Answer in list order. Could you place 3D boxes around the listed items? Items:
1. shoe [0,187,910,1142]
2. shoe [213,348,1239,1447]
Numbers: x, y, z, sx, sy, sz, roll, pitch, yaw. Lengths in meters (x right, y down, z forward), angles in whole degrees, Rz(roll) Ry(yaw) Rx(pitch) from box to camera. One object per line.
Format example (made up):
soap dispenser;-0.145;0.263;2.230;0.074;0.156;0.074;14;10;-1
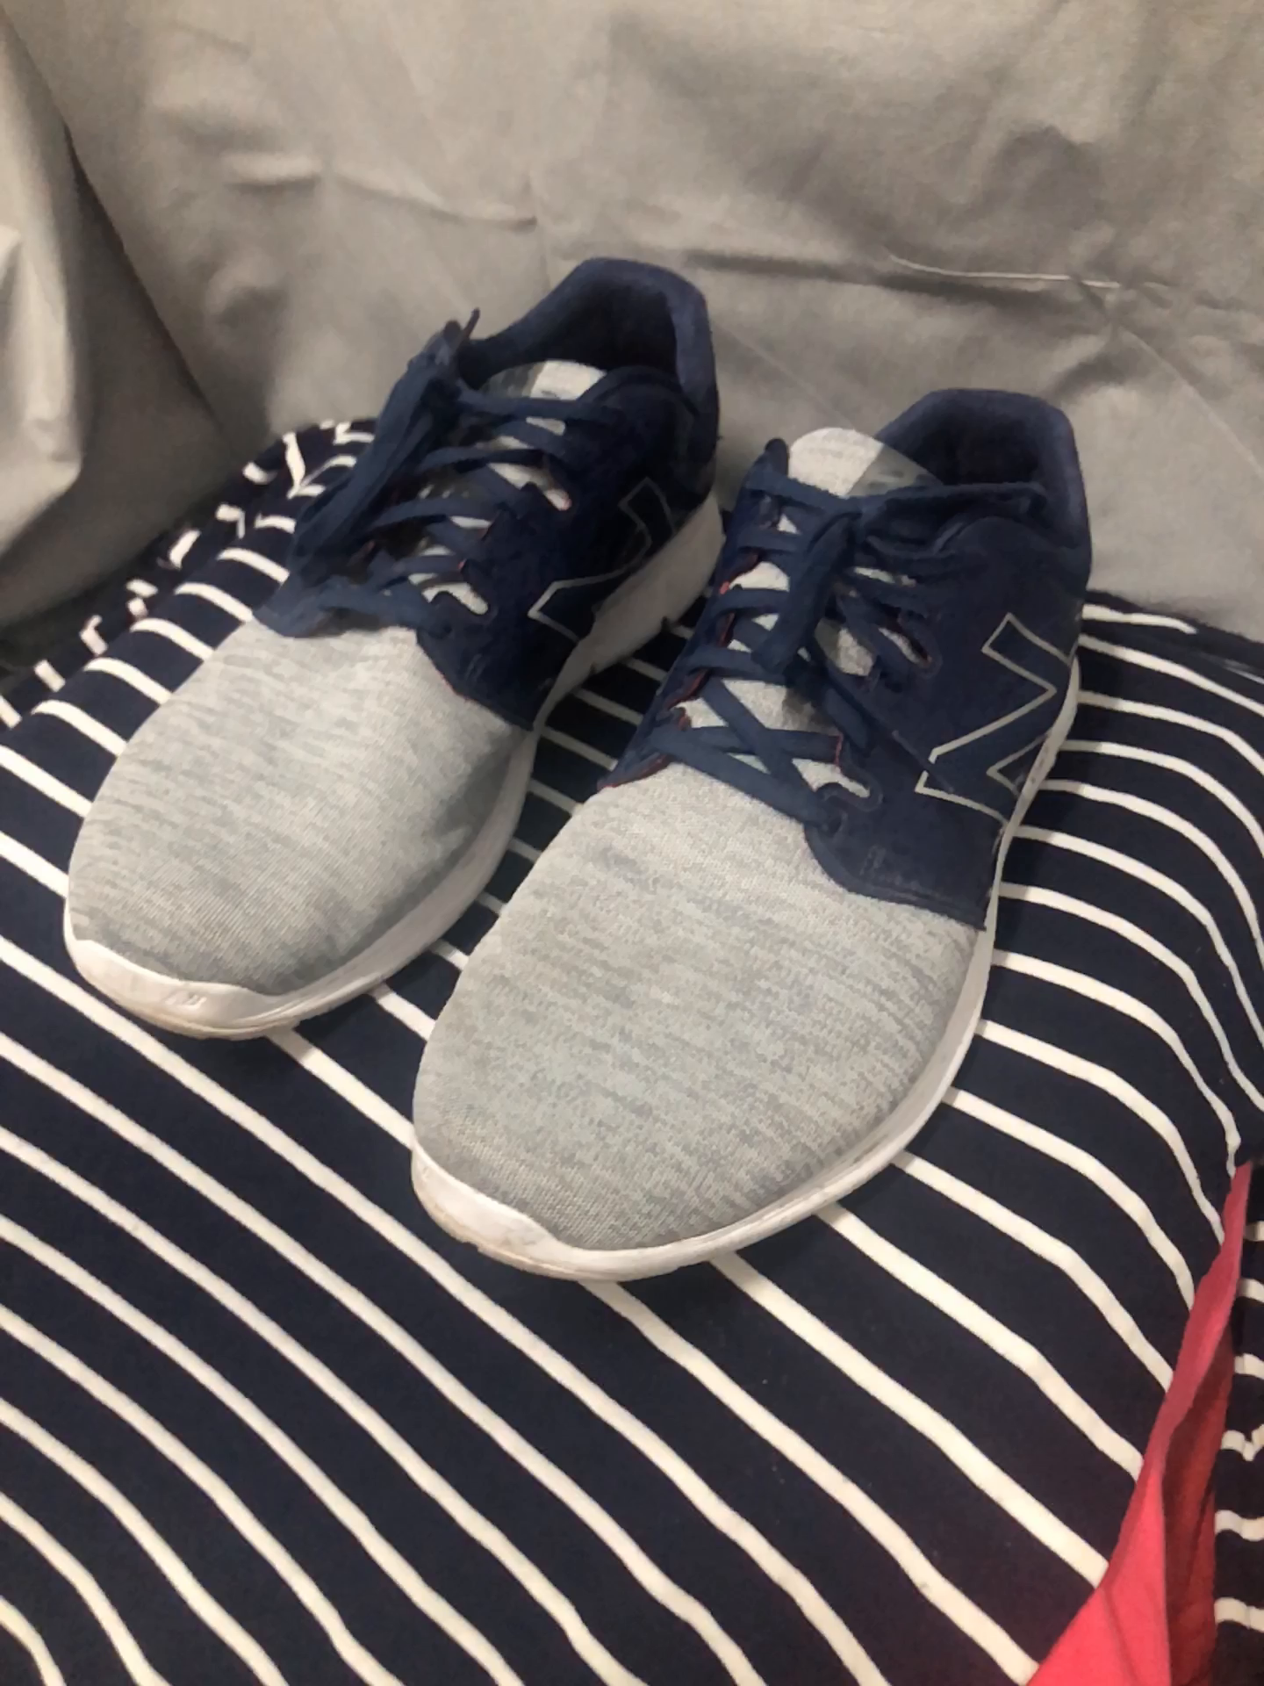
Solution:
shoe;-0.043;-0.083;0.407;0.120;0.089;0.322;23;48;20
shoe;0.042;-0.016;0.336;0.120;0.079;0.262;23;48;20
